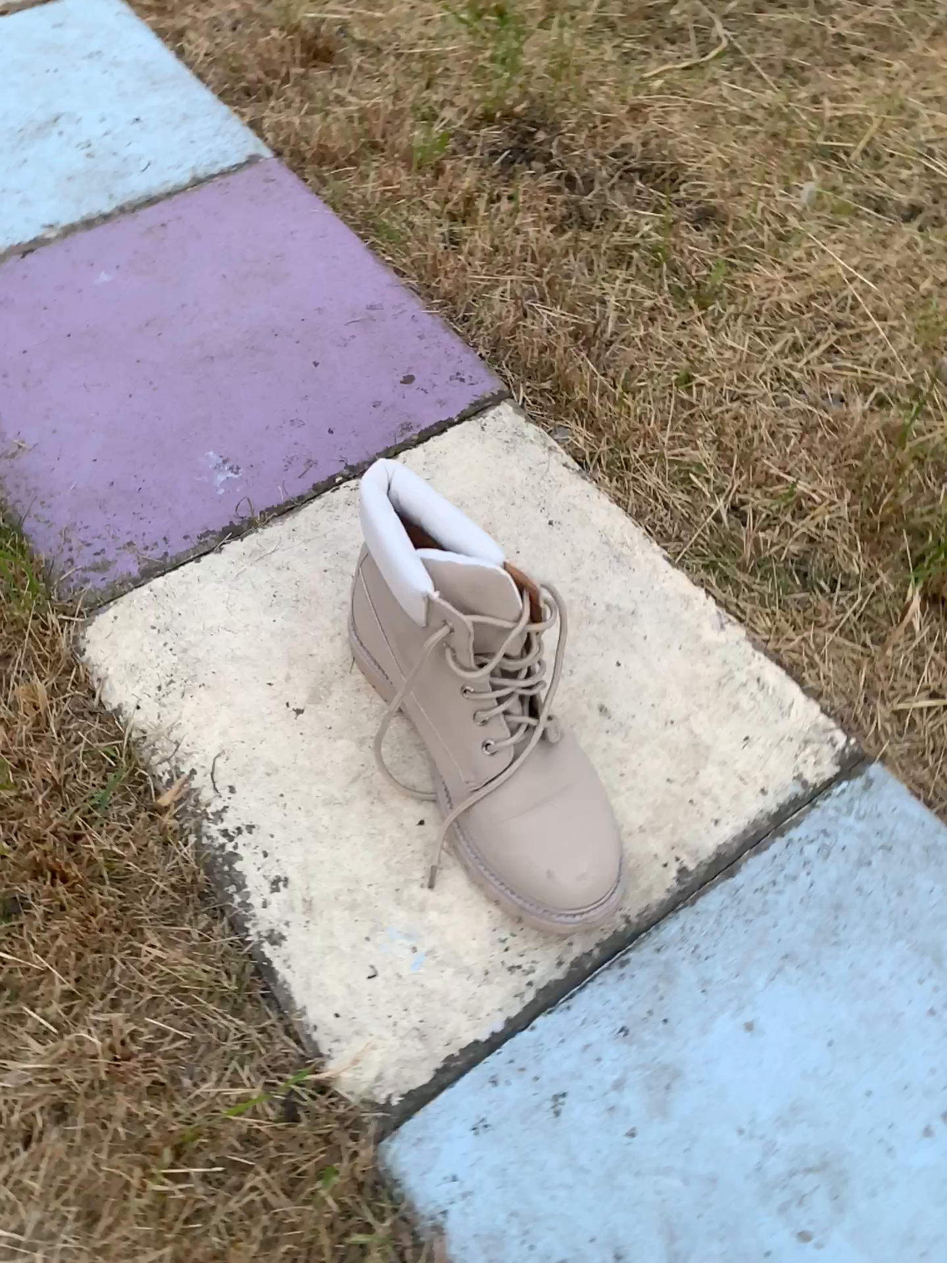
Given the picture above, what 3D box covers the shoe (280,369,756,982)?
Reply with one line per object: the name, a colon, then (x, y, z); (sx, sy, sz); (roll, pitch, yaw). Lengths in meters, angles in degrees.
shoe: (0.006, 0.026, 0.558); (0.100, 0.198, 0.282); (-25, 61, -18)
